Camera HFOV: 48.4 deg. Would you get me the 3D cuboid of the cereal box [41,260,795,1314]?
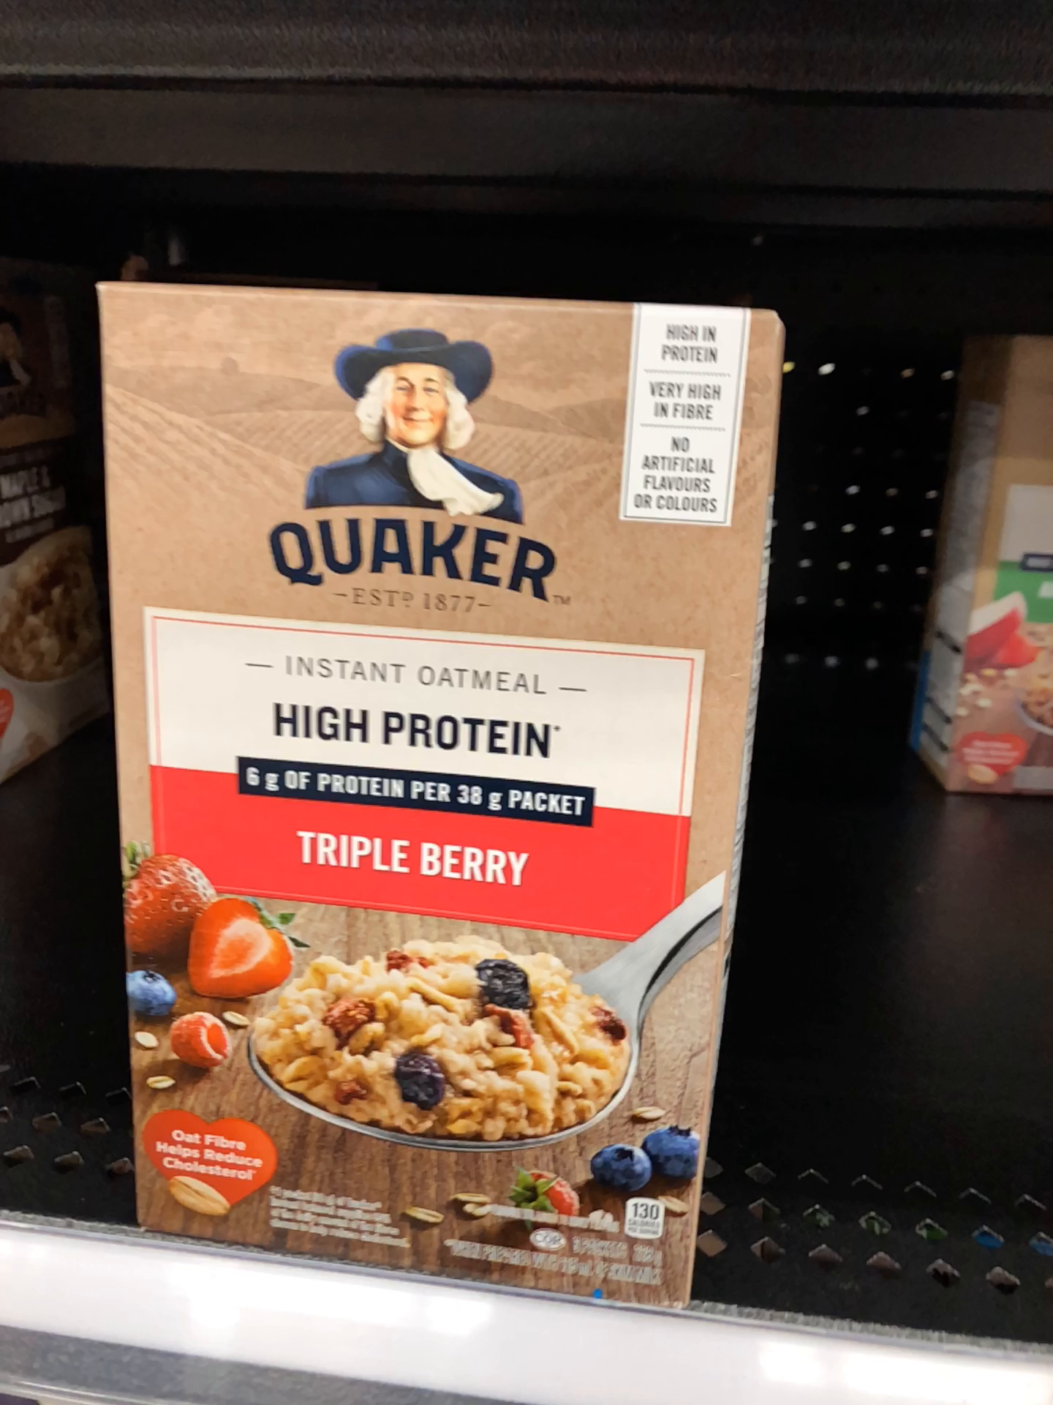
[{"bbox_3d":[-0.020,0.014,0.256,0.130,0.199,0.070,4,15,7],"label":"cereal box"}]
